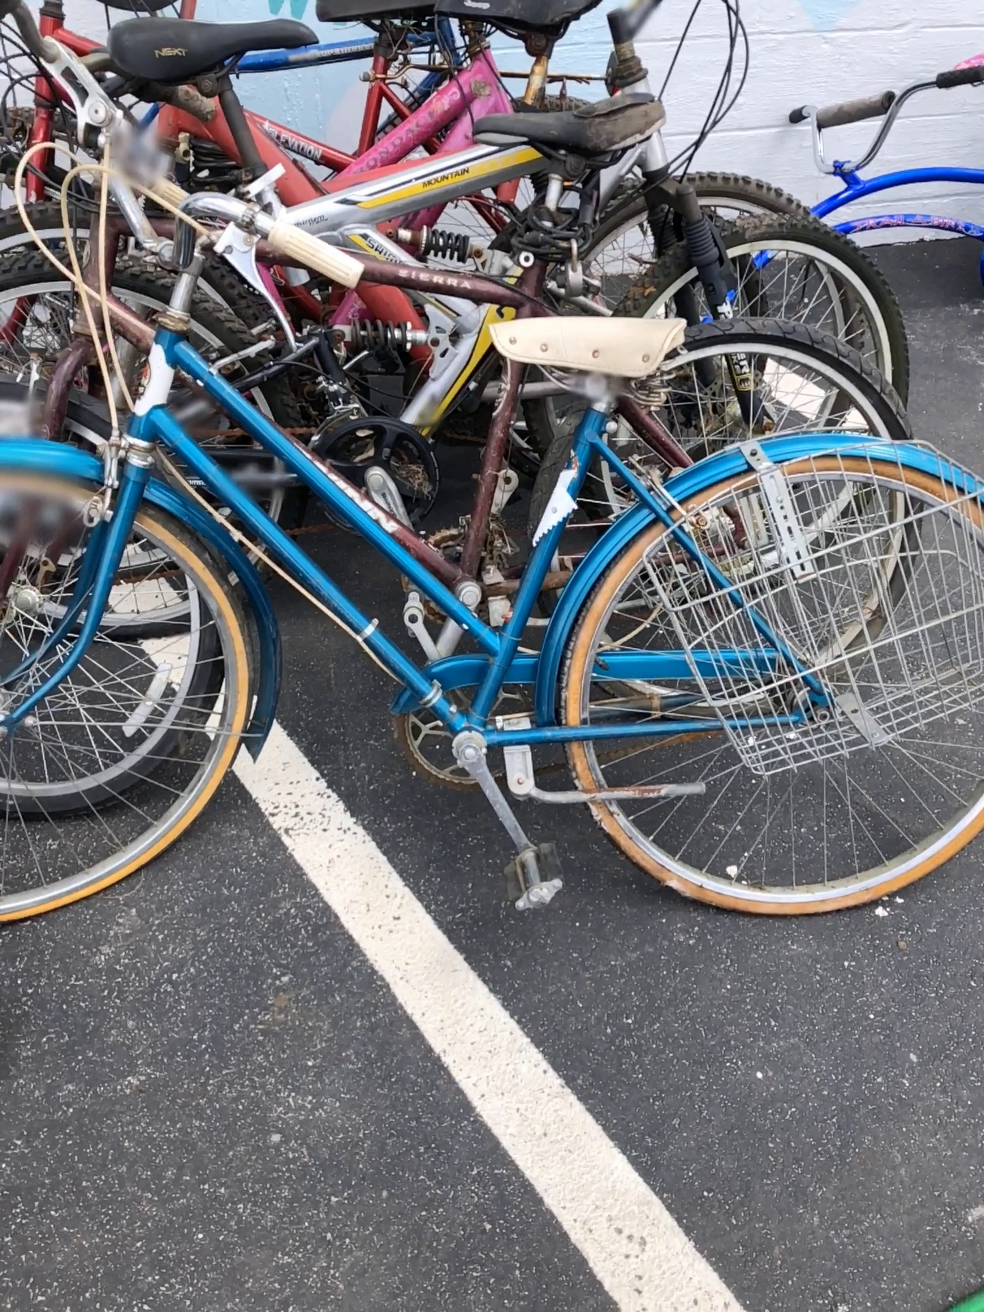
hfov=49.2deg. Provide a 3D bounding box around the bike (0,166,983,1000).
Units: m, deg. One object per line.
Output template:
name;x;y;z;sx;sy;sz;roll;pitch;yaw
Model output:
bike;-0.095;-0.093;1.248;1.481;0.760;0.477;-3;40;-5
